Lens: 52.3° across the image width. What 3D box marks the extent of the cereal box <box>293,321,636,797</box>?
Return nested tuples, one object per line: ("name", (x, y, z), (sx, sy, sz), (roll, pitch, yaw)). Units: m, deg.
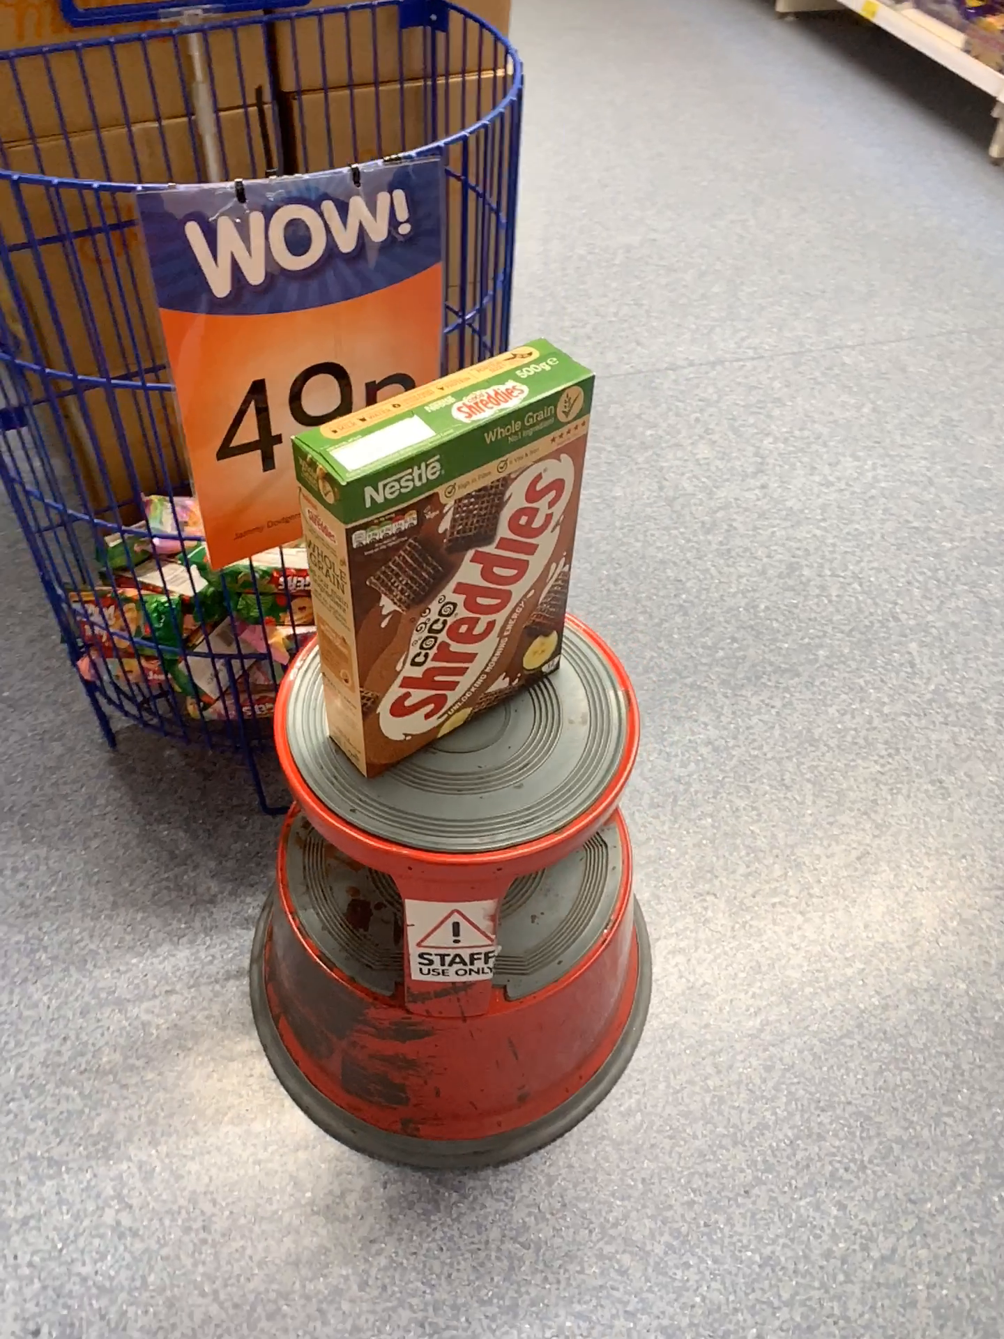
("cereal box", (-0.024, -0.067, 0.702), (0.201, 0.277, 0.070), (-30, 55, -27))
